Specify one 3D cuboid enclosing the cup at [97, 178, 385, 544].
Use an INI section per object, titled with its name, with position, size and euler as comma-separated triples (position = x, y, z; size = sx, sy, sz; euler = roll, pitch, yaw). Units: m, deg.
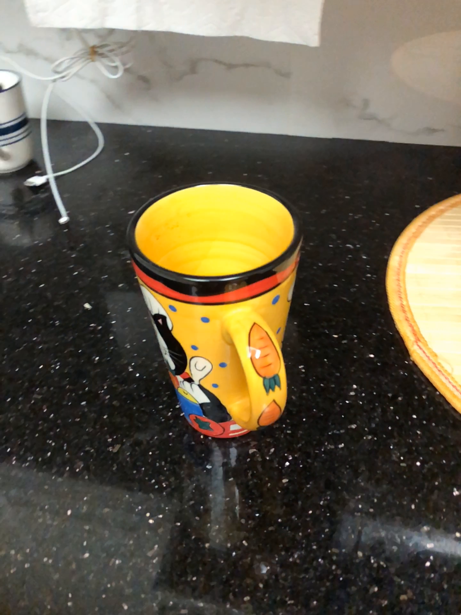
[cup]
position = -0.001, 0.026, 0.295
size = 0.090, 0.139, 0.131
euler = -20, 44, -19
